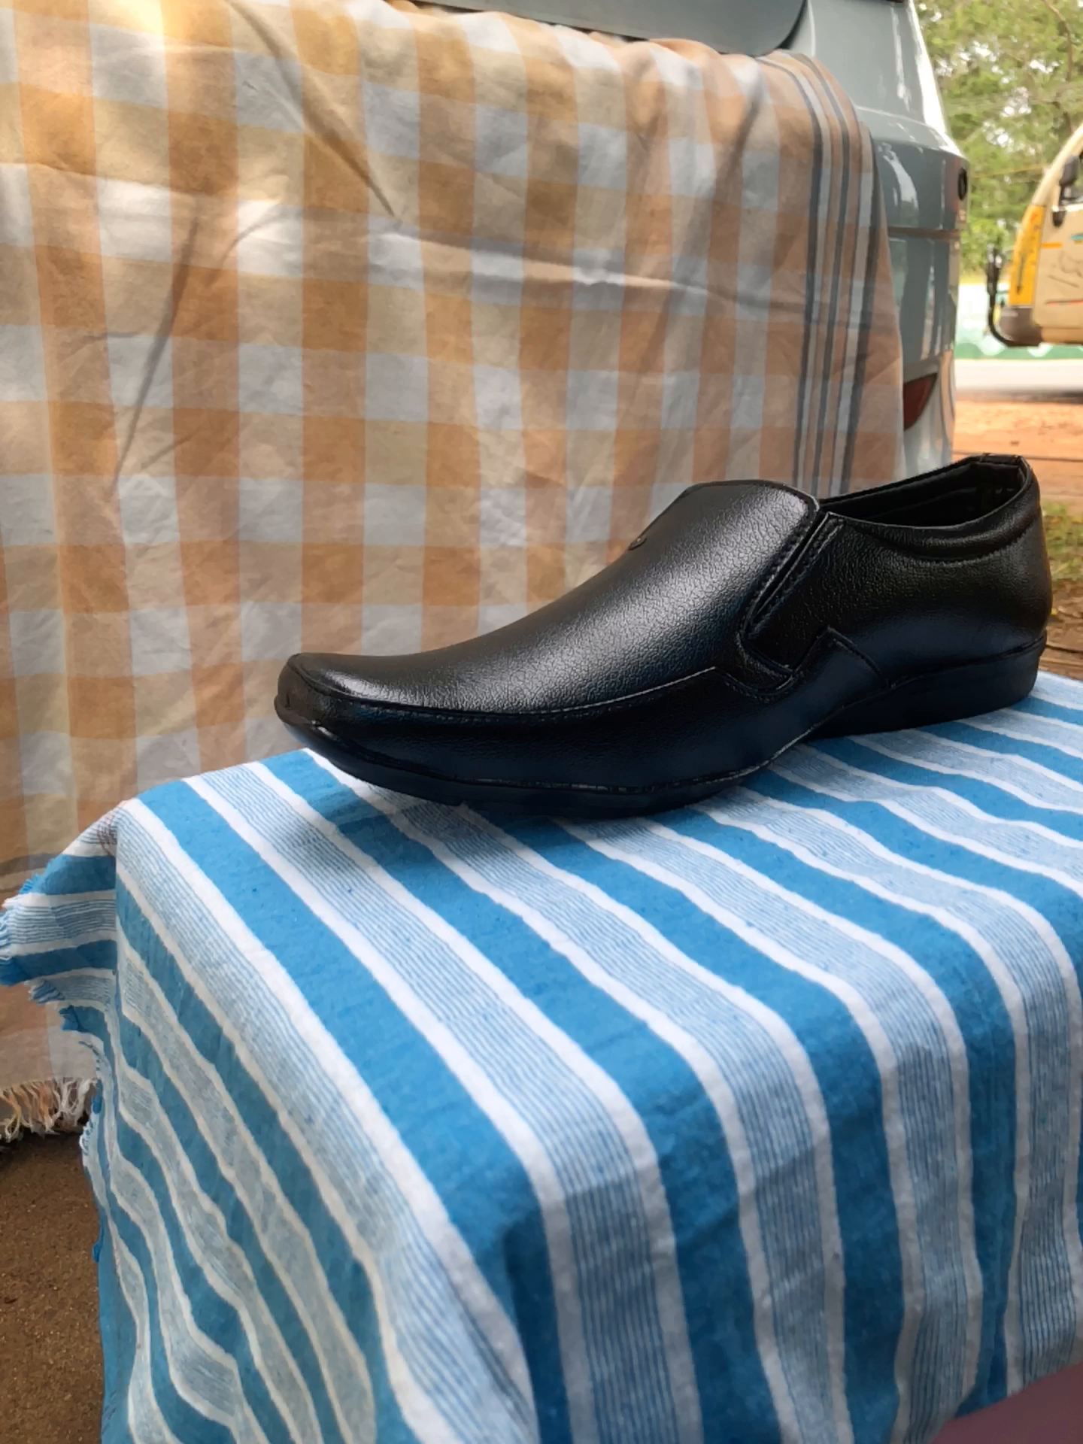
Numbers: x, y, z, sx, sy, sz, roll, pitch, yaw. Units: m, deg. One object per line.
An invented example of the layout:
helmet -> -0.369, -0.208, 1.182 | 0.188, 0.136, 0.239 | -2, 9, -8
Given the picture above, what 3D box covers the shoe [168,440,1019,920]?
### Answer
shoe -> 0.036, -0.037, 0.432 | 0.301, 0.110, 0.100 | -12, 20, -35
